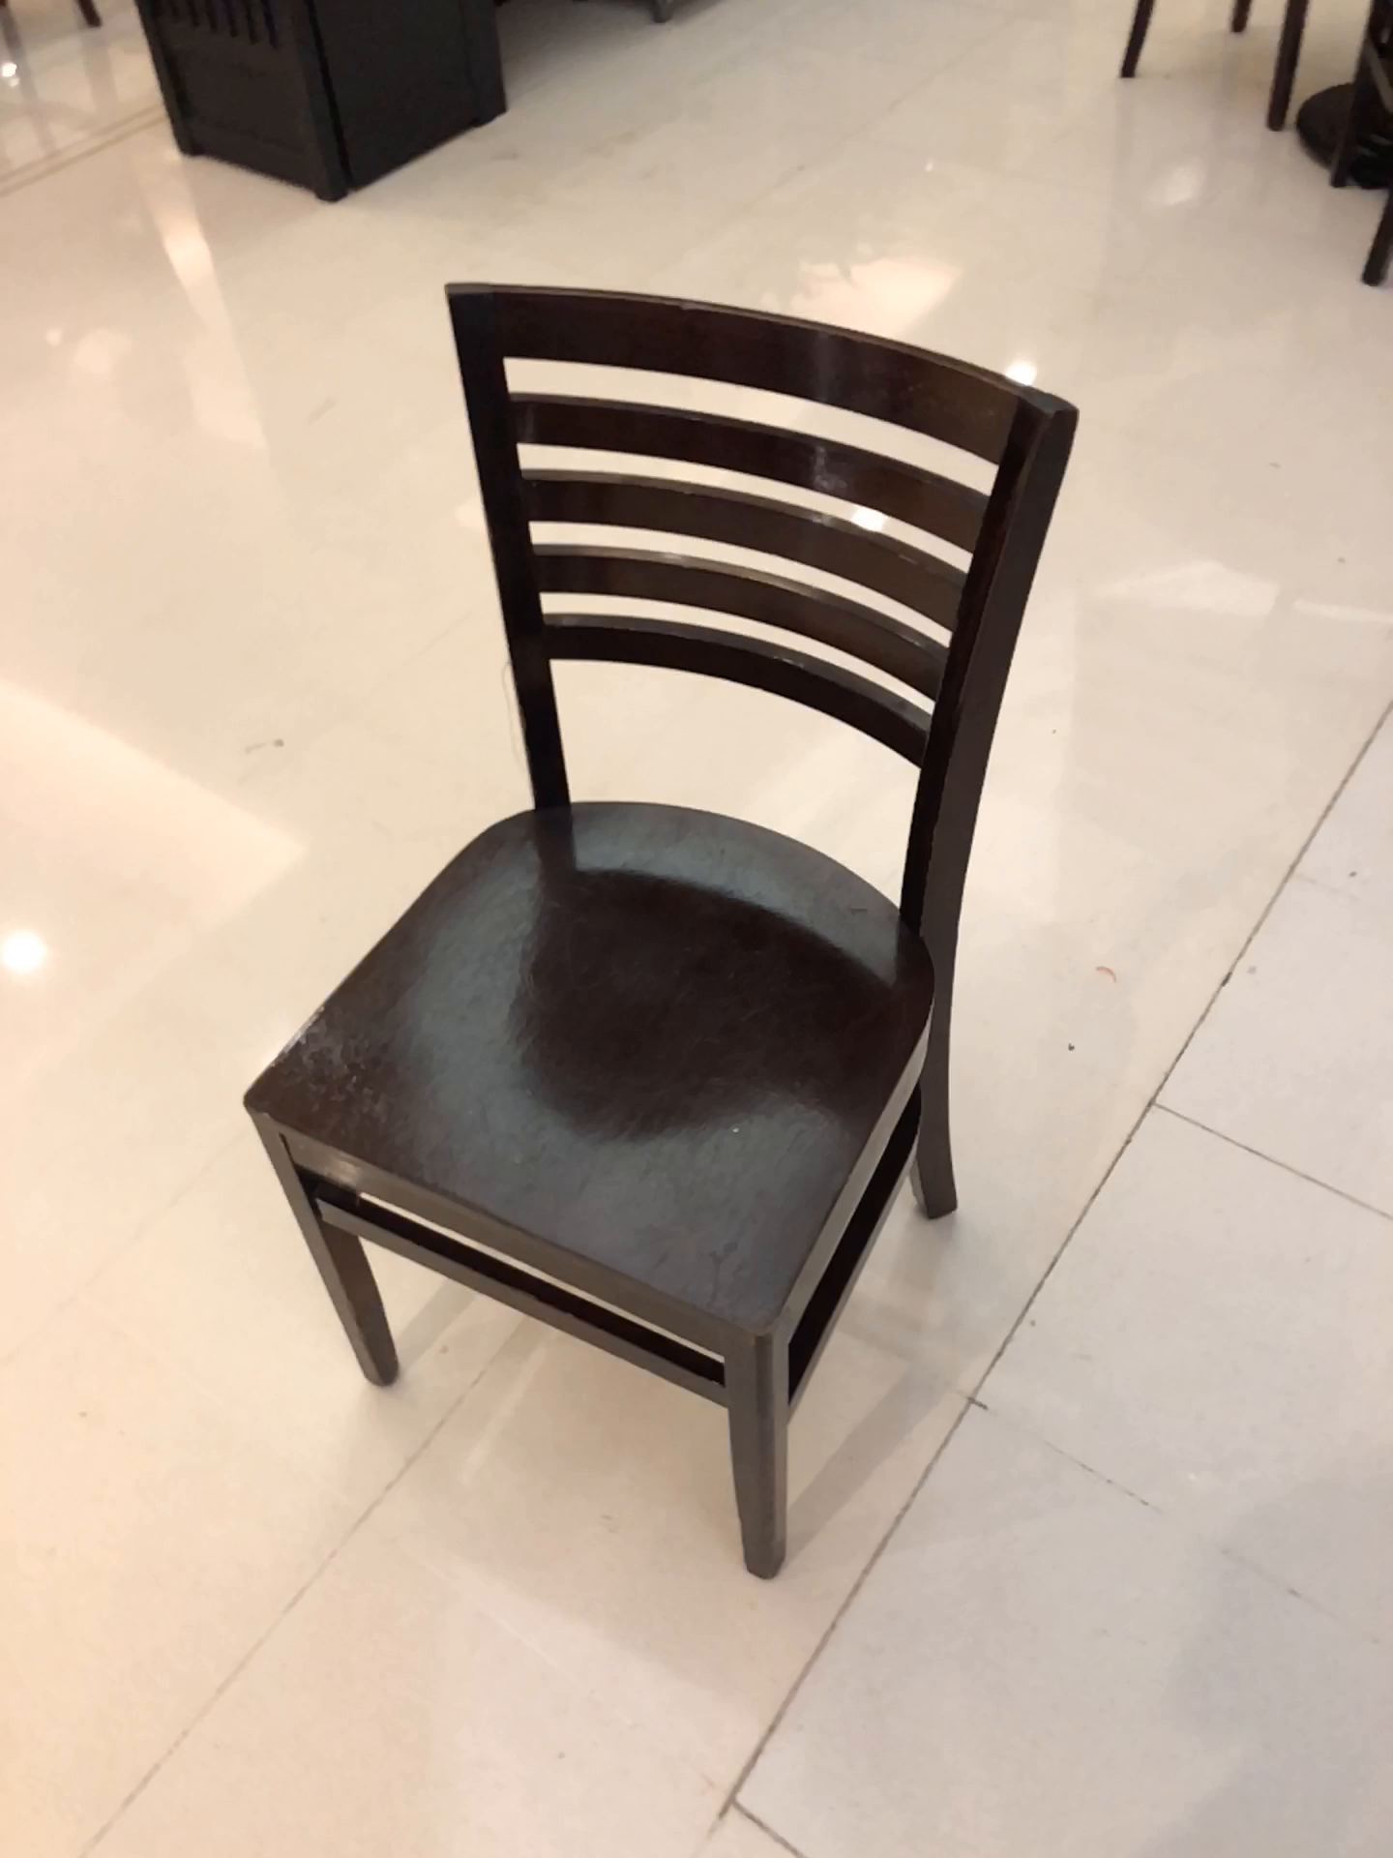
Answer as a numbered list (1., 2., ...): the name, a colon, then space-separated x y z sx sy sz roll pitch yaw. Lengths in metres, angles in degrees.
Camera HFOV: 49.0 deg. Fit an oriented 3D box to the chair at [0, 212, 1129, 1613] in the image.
1. chair: -0.042 0.023 1.178 0.460 0.845 0.543 20 53 21
